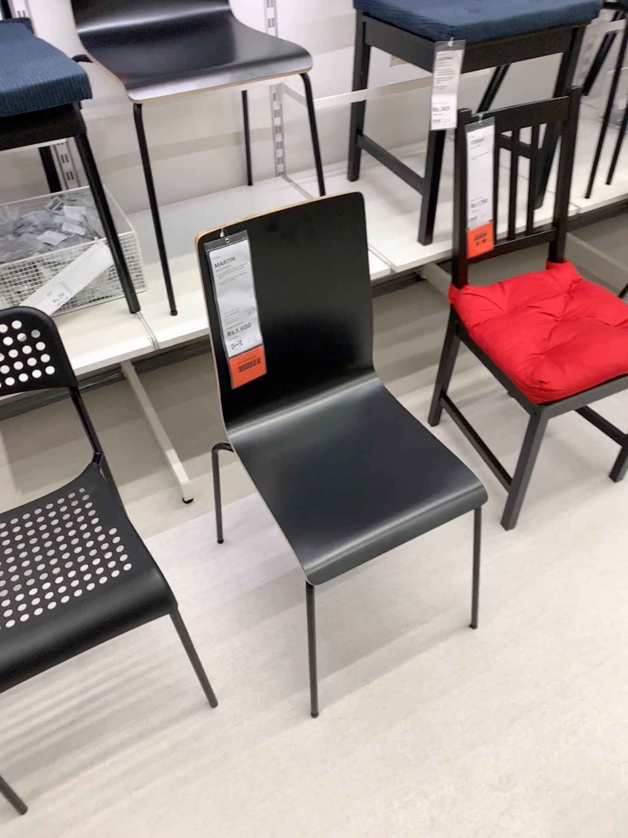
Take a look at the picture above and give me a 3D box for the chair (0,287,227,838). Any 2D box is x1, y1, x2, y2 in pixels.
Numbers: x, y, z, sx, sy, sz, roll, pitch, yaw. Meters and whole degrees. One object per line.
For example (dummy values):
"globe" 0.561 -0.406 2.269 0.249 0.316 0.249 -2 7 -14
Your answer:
"chair" -0.520 0.265 1.156 0.470 0.727 0.532 -21 47 -19

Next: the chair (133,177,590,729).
"chair" 0.043 0.076 1.287 0.480 0.827 0.592 -21 47 -19

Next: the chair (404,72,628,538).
"chair" 0.565 -0.240 1.484 0.450 0.857 0.482 -20 47 -18
